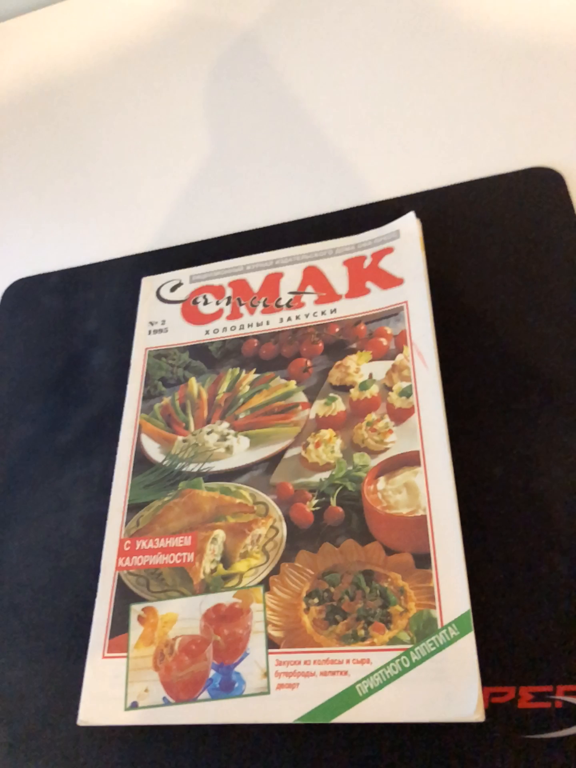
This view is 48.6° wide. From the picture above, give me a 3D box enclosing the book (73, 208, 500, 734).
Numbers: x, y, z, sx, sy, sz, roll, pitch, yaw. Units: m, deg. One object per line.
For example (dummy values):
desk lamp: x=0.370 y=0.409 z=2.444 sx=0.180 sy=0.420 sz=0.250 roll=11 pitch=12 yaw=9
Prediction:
book: x=-0.007 y=0.026 z=0.289 sx=0.160 sy=0.010 sz=0.231 roll=-9 pitch=60 yaw=15
